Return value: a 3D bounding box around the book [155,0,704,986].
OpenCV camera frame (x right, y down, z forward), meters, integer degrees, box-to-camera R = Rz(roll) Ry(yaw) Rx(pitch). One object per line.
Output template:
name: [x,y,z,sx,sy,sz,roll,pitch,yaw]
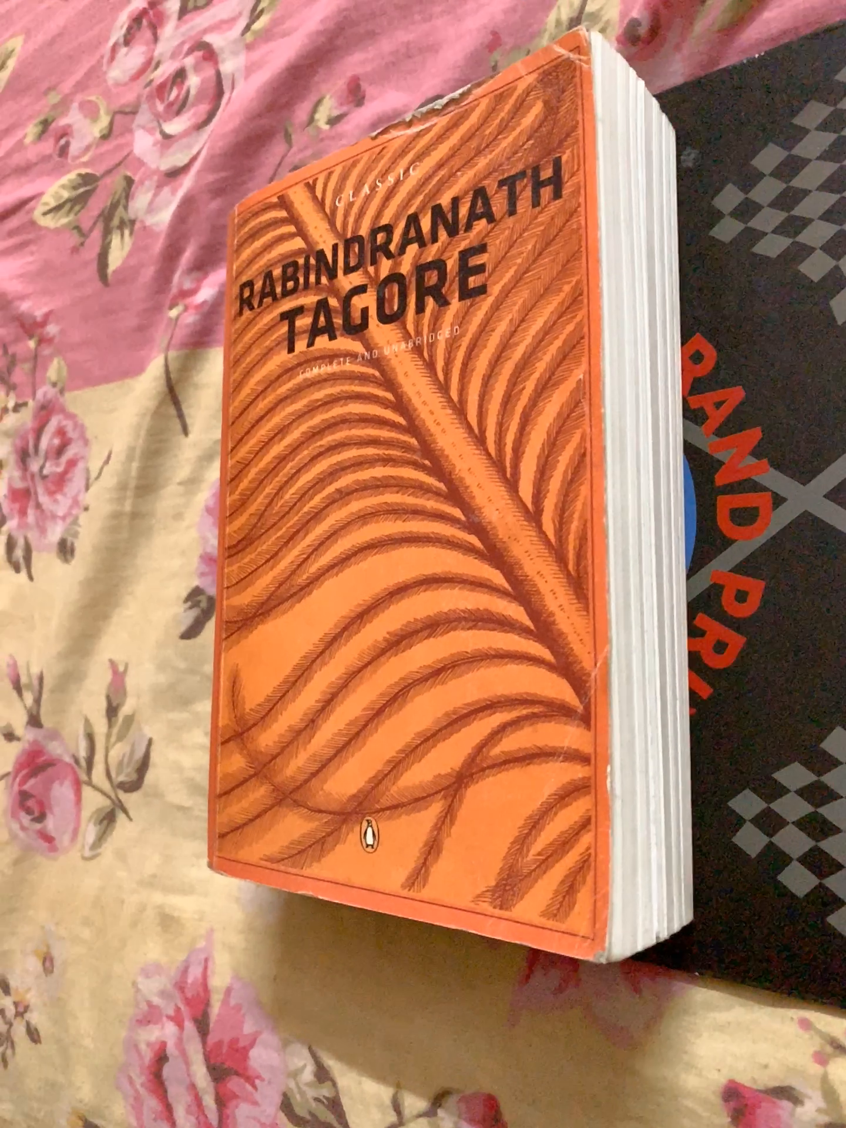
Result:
book: [-0.002,-0.016,0.241,0.131,0.060,0.210,-6,78,37]
